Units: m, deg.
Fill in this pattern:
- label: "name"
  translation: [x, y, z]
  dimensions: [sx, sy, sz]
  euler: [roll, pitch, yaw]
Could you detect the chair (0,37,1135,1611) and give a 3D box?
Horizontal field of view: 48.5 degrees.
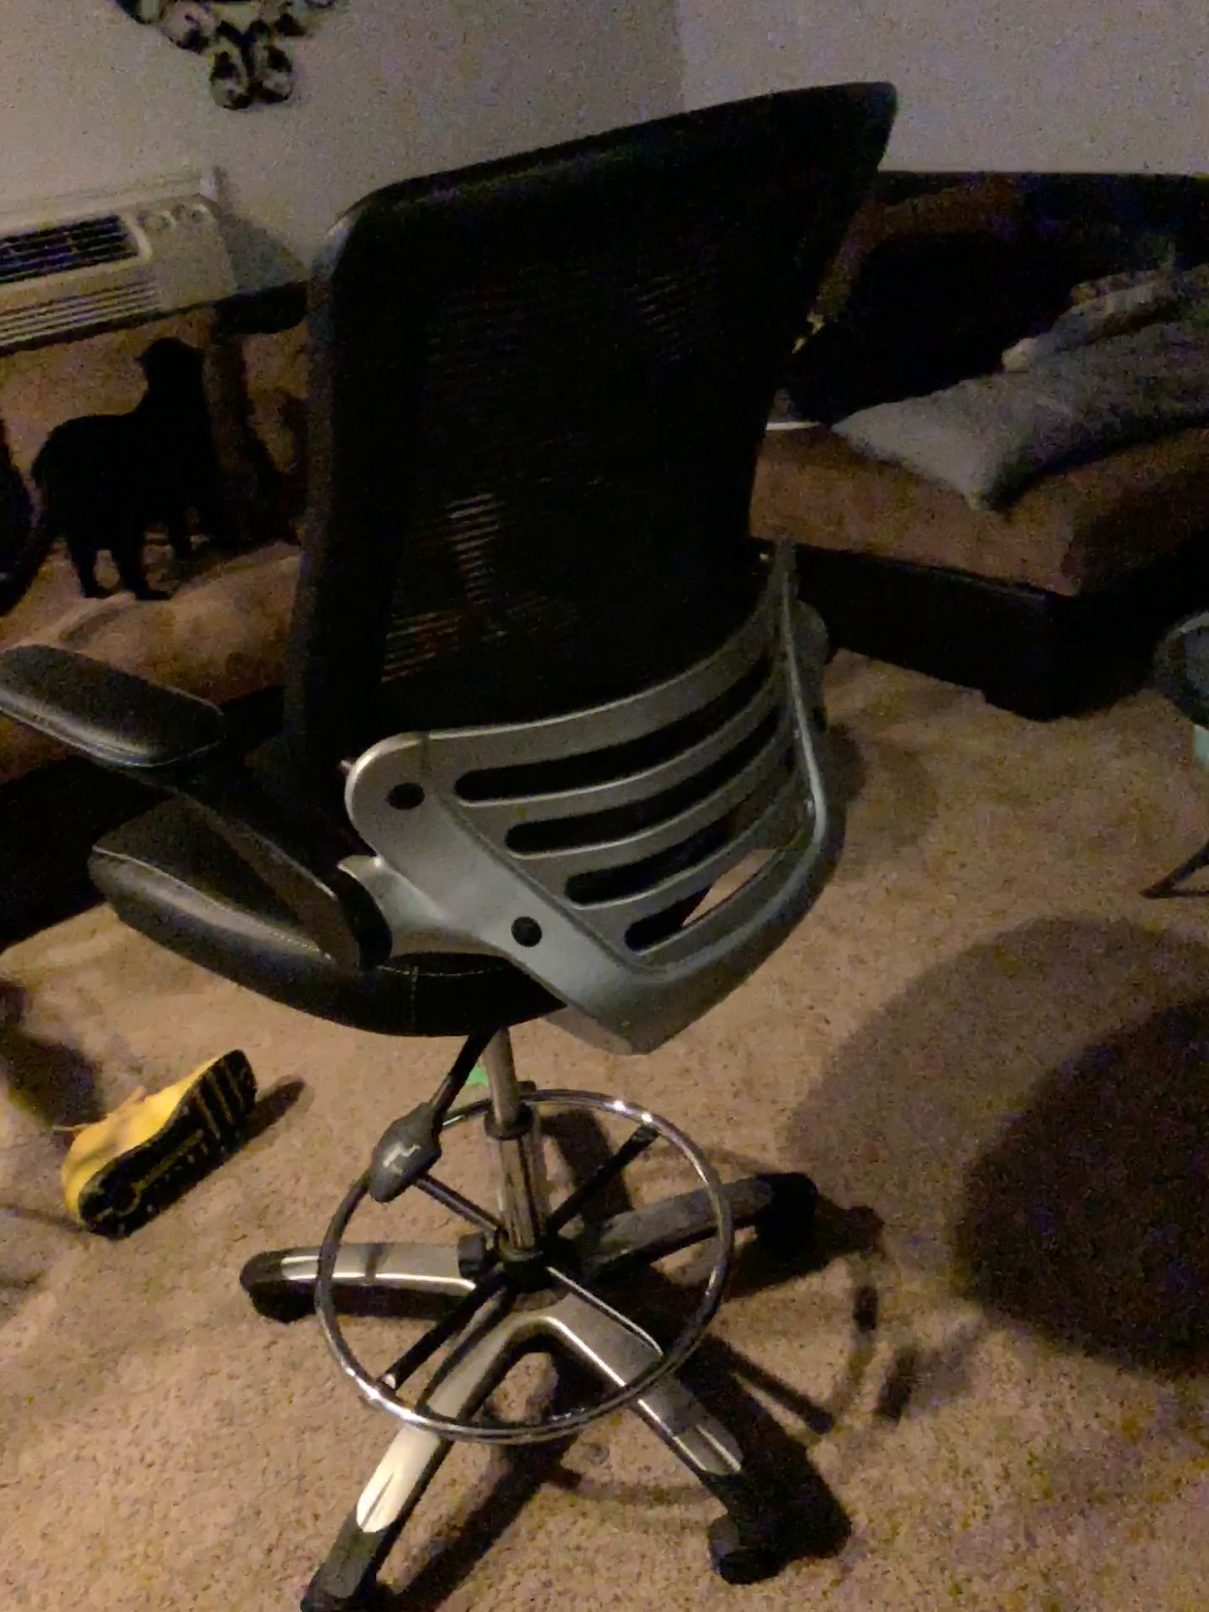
- label: "chair"
  translation: [-0.120, 0.057, 1.126]
  dimensions: [0.700, 1.120, 0.780]
  euler: [20, 40, 37]
